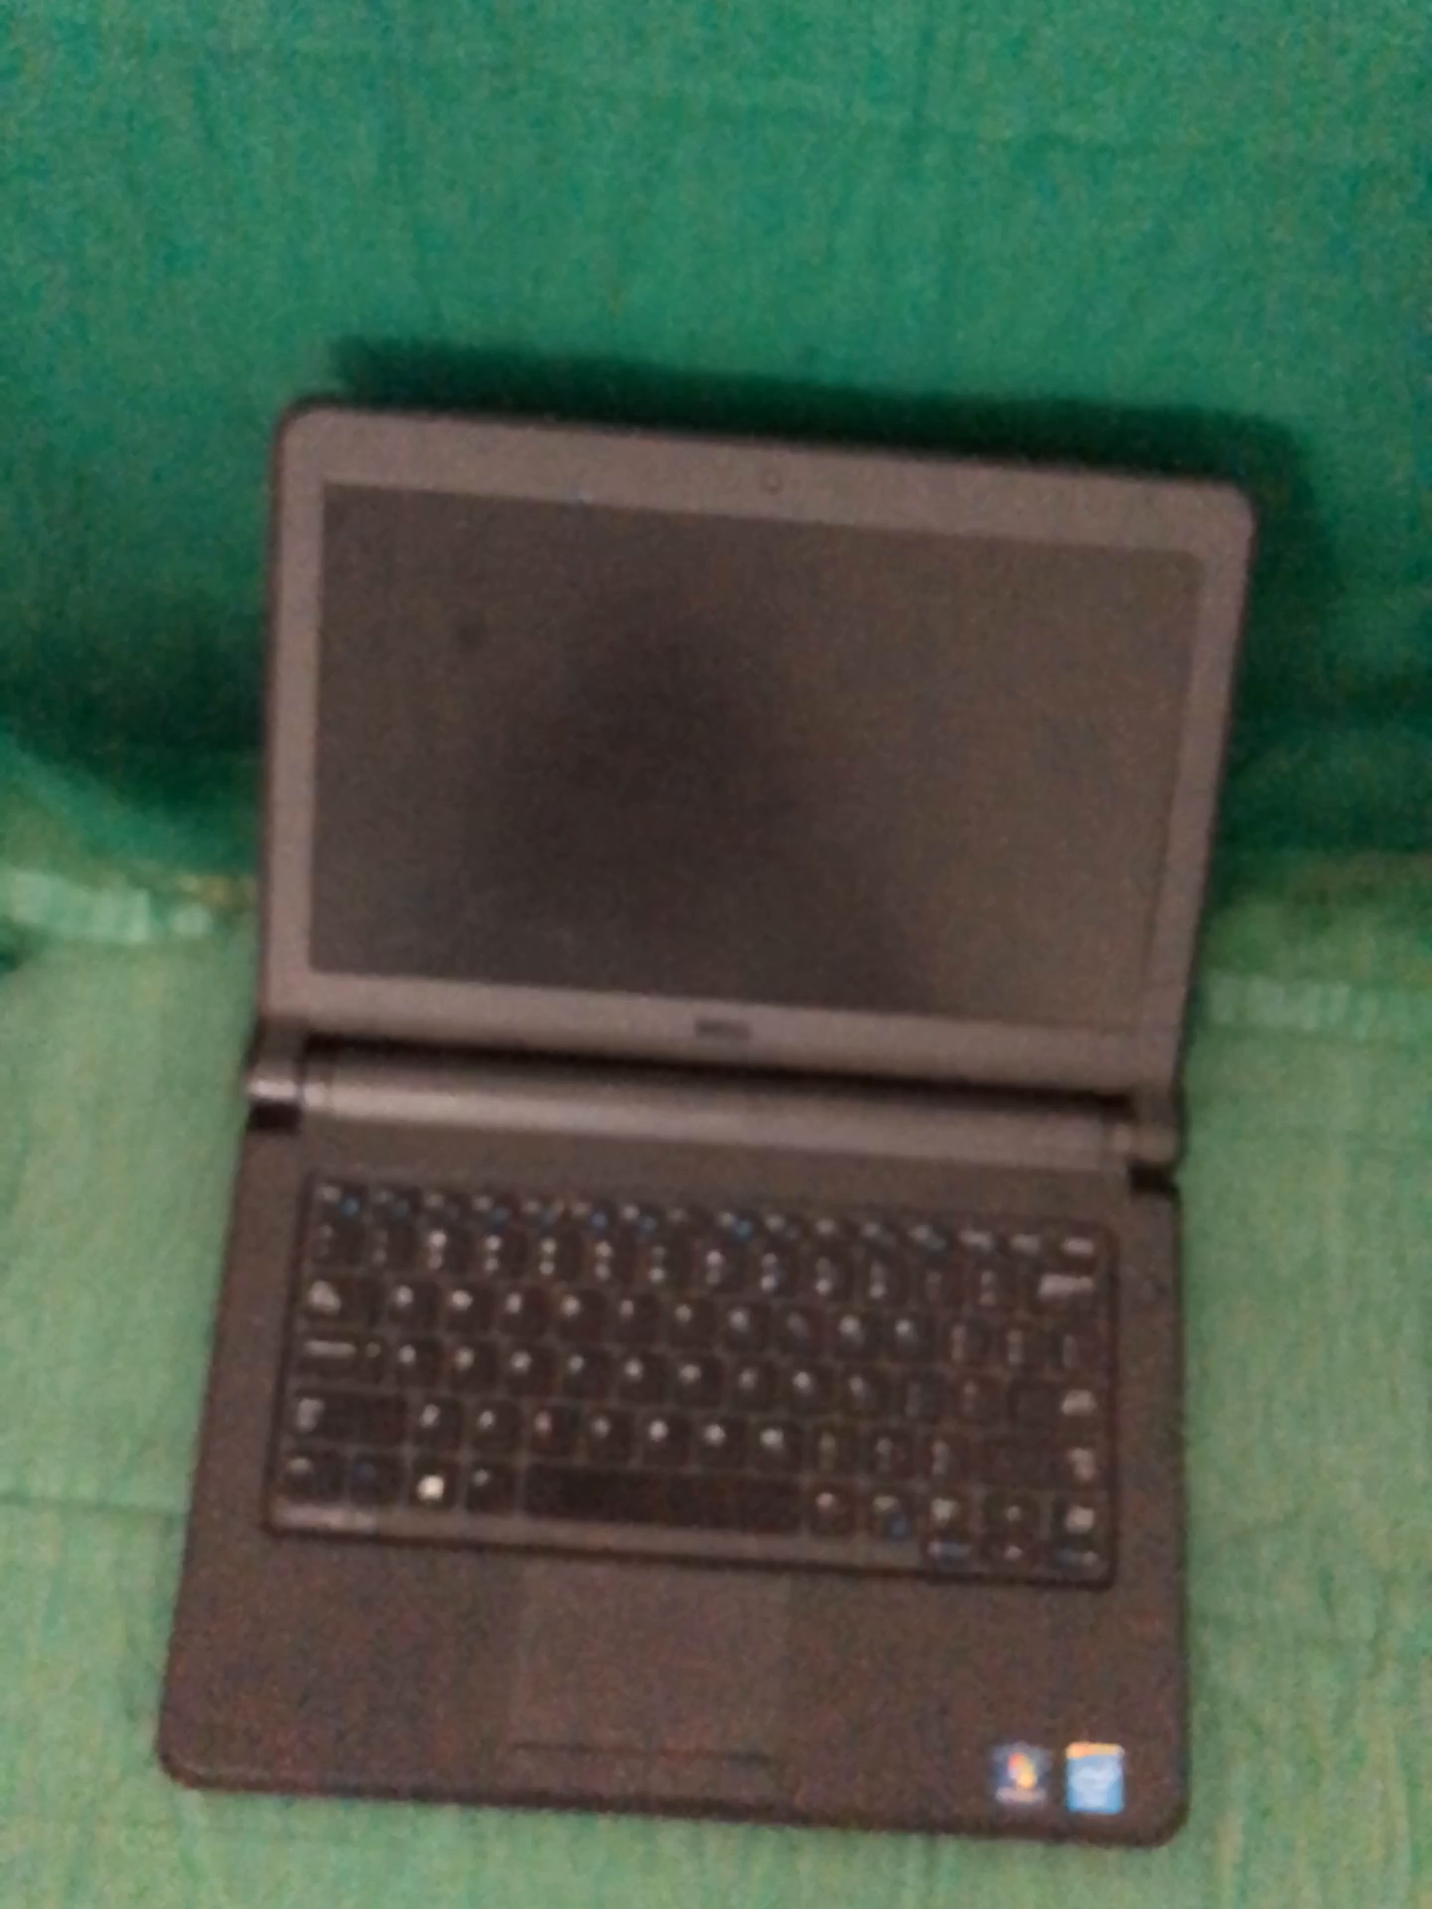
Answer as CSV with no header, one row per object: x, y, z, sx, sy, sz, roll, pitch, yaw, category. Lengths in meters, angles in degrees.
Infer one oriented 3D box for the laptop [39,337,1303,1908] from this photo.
0.003,0.042,0.491,0.311,0.096,0.420,4,76,-1,laptop
